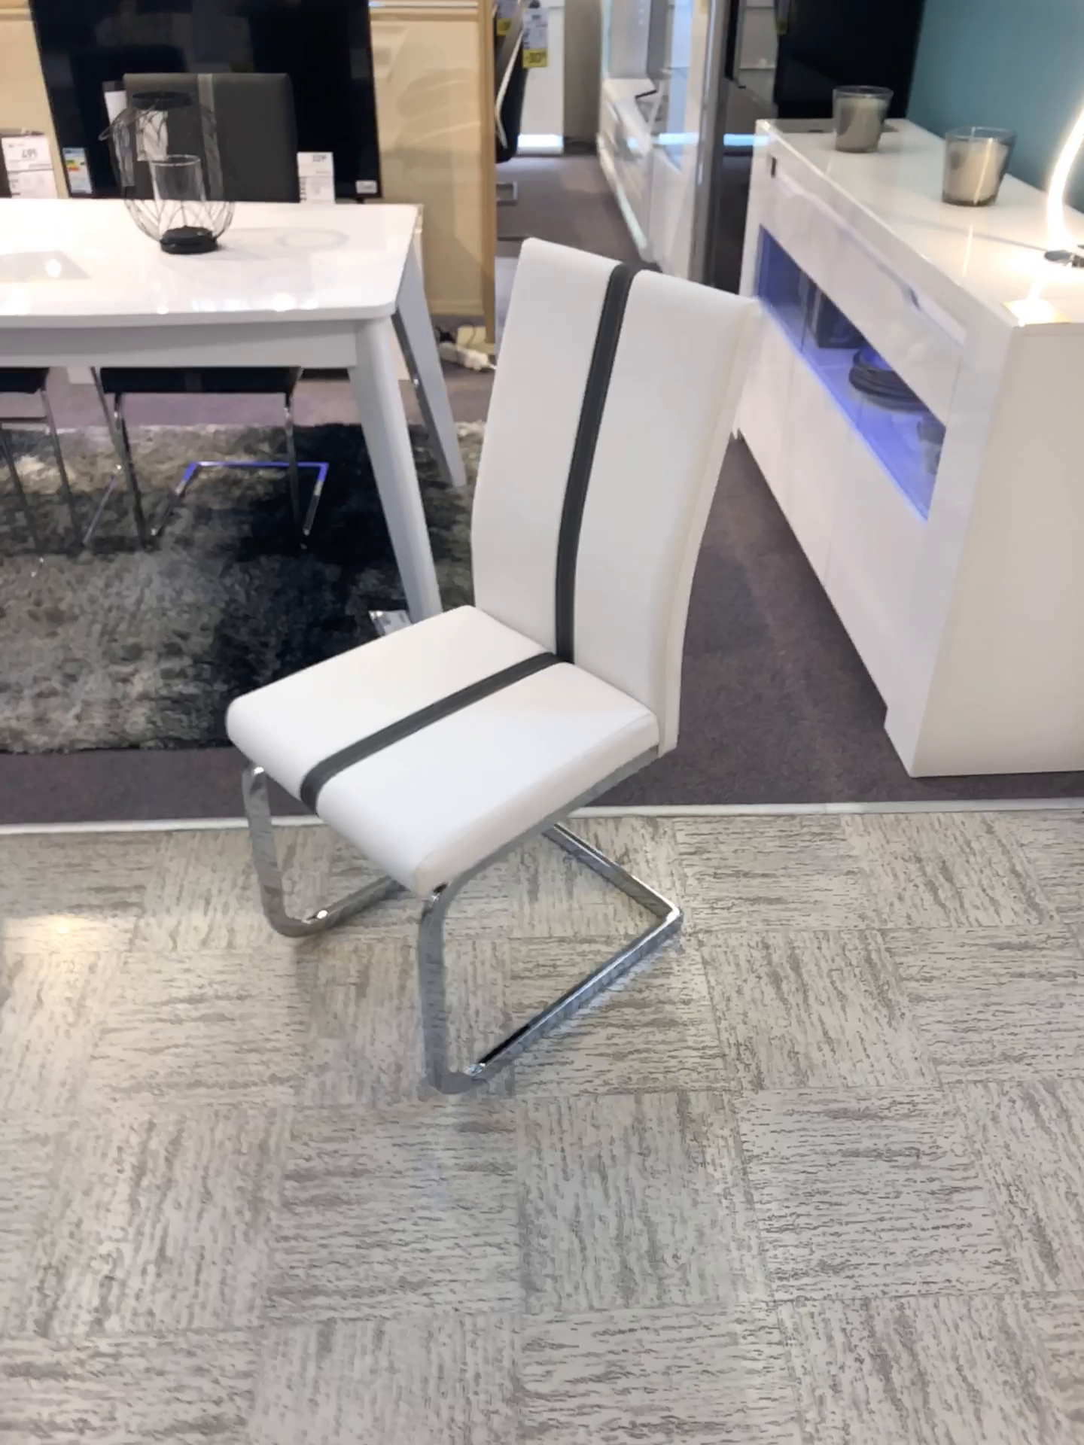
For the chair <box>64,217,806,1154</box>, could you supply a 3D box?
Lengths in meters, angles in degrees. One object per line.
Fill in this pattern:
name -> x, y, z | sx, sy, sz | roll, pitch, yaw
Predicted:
chair -> -0.109, -0.066, 1.450 | 0.572, 0.878, 0.488 | -26, 43, -32
